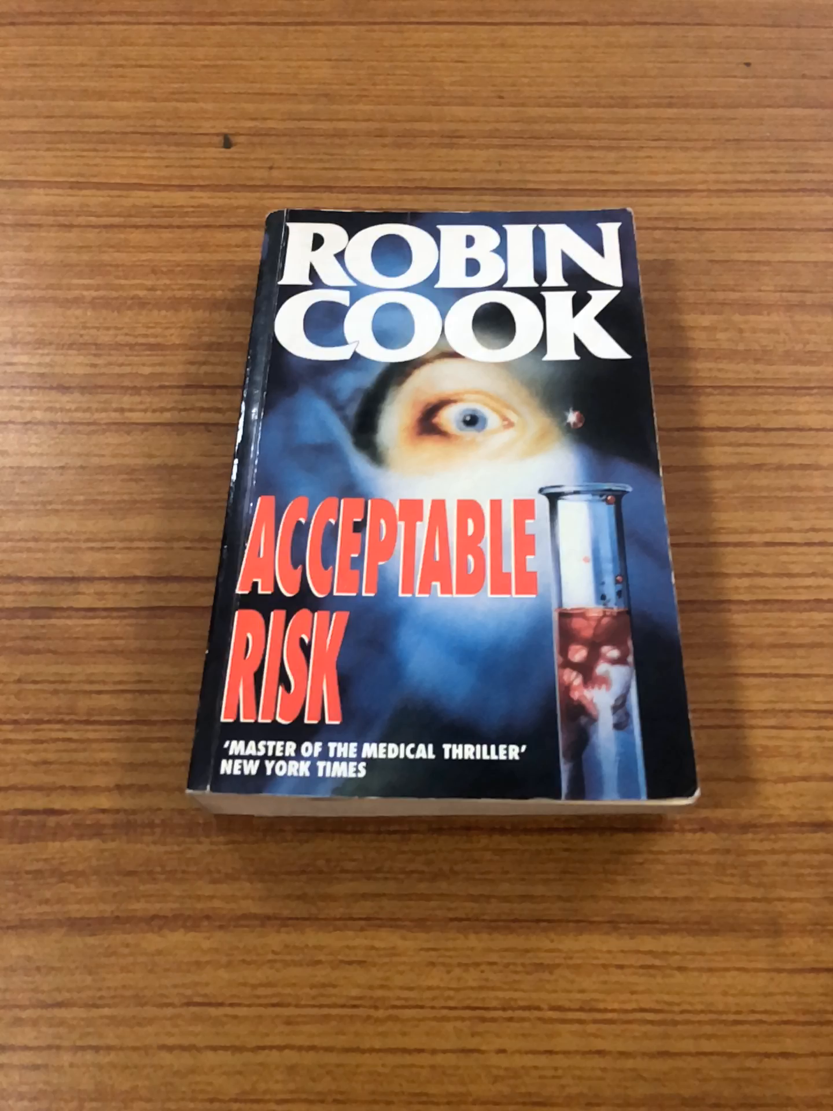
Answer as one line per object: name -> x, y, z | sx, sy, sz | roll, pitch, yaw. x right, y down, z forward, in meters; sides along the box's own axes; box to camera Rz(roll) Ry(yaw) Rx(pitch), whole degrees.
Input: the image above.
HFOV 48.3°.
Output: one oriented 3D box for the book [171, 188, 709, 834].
book -> 0.008, -0.019, 0.246 | 0.110, 0.040, 0.170 | 2, 63, 1
